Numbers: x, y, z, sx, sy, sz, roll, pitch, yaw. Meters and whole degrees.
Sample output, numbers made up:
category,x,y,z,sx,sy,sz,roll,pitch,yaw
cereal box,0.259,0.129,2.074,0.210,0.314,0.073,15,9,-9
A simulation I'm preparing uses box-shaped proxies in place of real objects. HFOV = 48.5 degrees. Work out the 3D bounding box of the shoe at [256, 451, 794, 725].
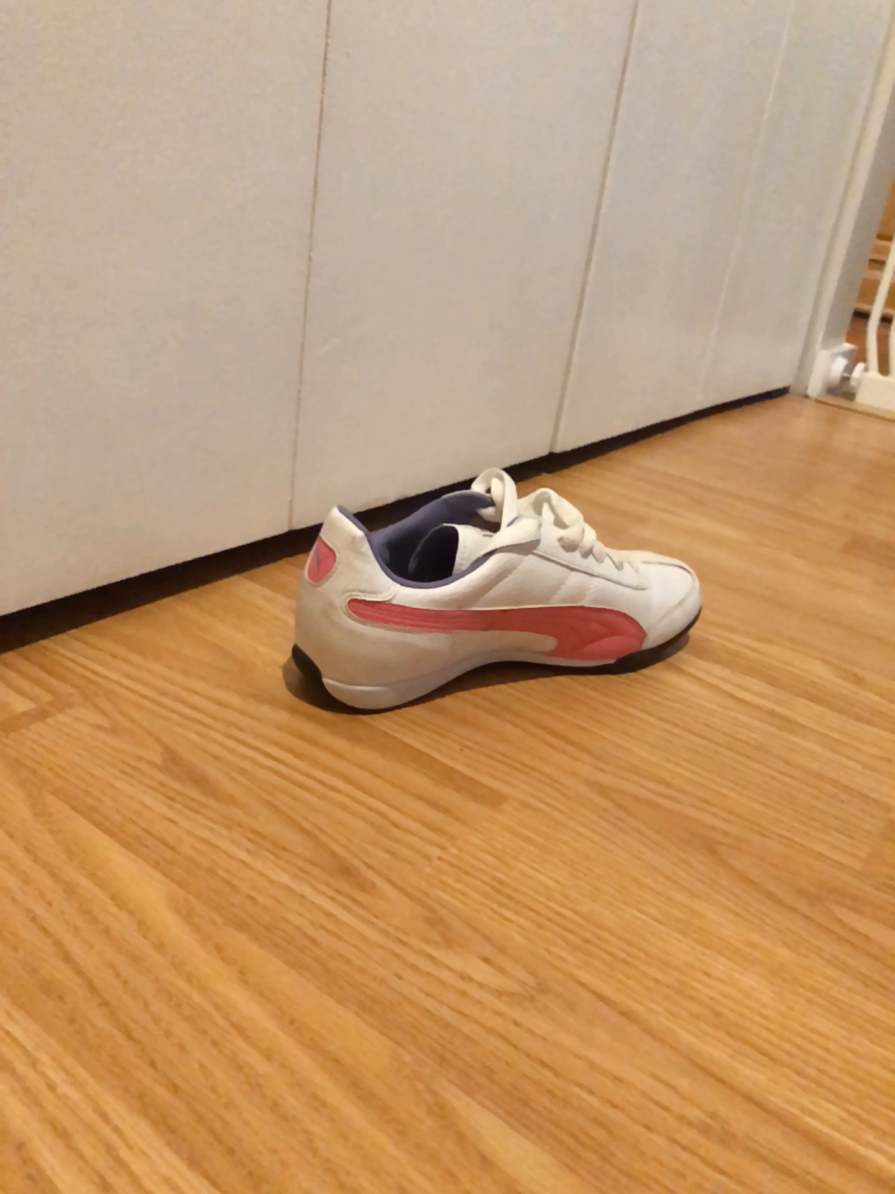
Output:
category,x,y,z,sx,sy,sz,roll,pitch,yaw
shoe,0.045,-0.017,0.512,0.260,0.080,0.100,-8,28,-34
